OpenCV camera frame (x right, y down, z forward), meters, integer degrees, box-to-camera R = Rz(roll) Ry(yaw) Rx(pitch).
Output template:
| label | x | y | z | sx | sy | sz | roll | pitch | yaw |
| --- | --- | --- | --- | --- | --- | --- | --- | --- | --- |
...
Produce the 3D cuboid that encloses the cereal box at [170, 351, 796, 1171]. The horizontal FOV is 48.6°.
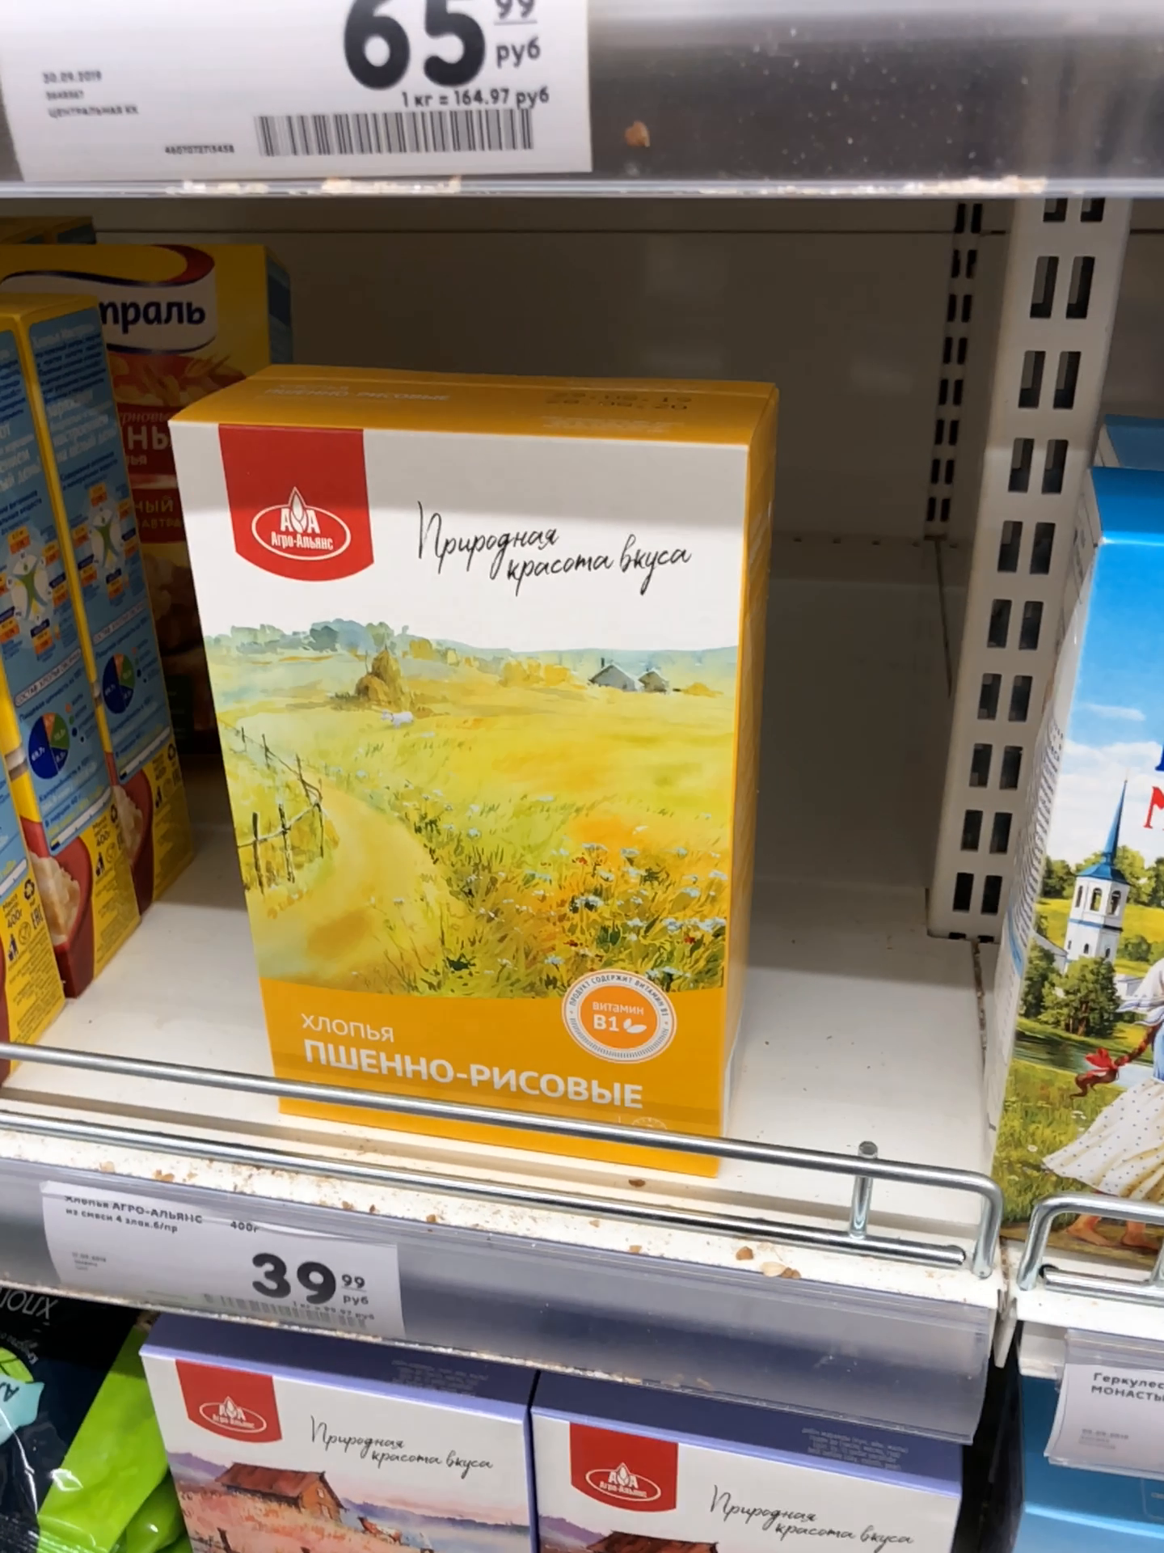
| label | x | y | z | sx | sy | sz | roll | pitch | yaw |
| --- | --- | --- | --- | --- | --- | --- | --- | --- | --- |
| cereal box | -0.017 | -0.002 | 0.338 | 0.130 | 0.199 | 0.060 | 5 | 28 | 12 |
